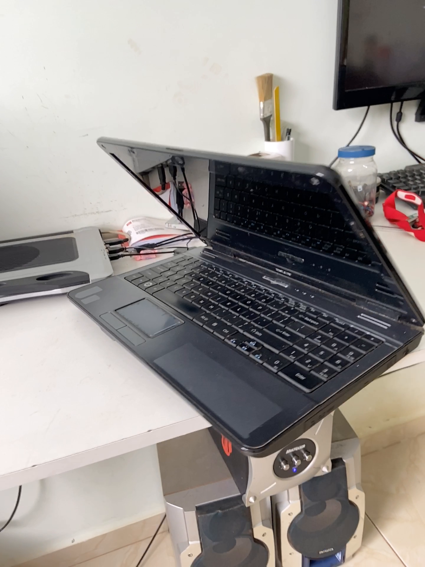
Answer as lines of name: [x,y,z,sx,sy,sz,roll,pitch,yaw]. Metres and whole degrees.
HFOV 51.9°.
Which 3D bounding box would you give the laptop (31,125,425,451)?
laptop: [0.000,-0.054,0.474,0.233,0.183,0.367,-22,30,-32]
